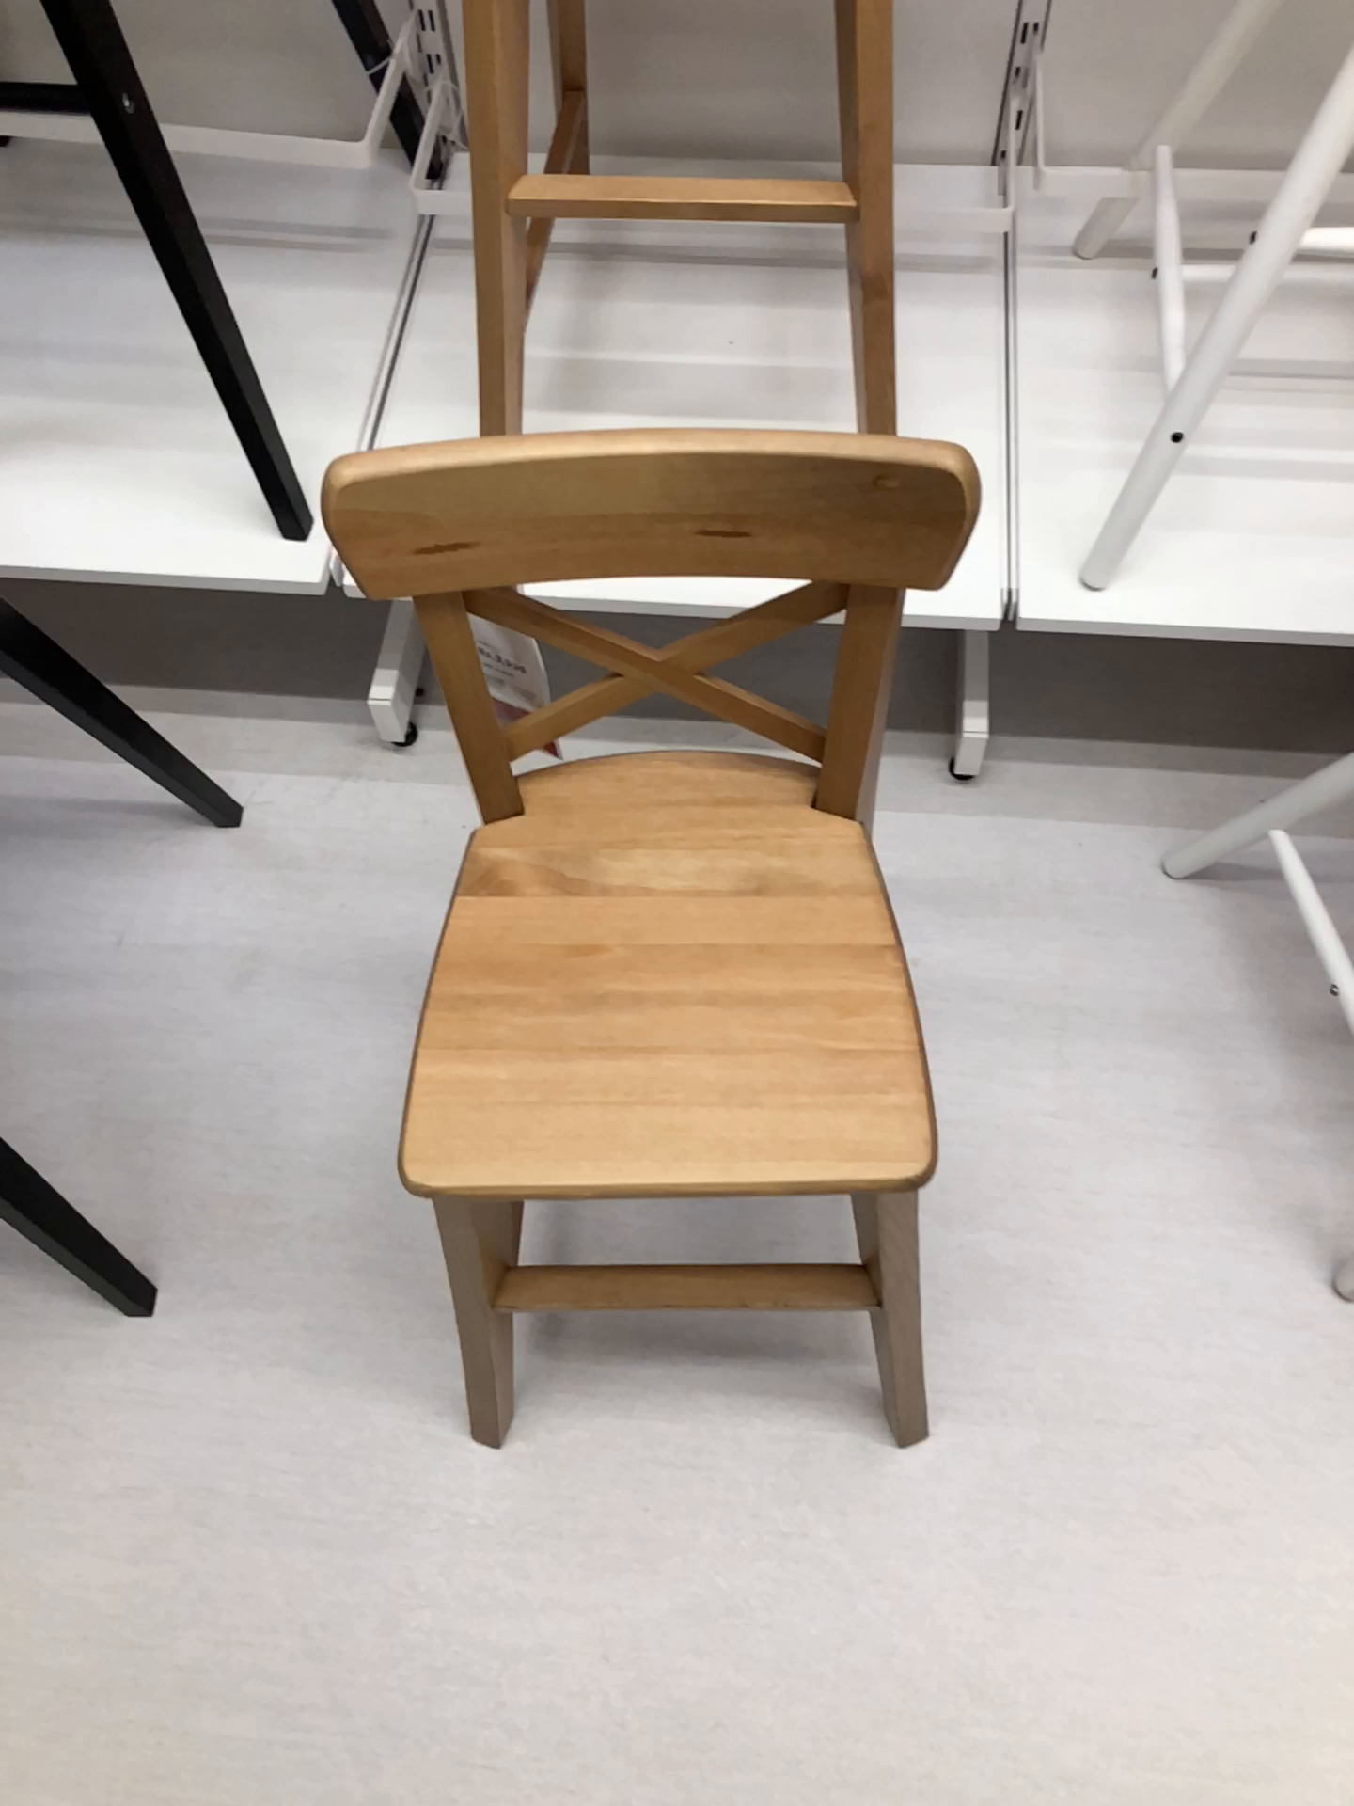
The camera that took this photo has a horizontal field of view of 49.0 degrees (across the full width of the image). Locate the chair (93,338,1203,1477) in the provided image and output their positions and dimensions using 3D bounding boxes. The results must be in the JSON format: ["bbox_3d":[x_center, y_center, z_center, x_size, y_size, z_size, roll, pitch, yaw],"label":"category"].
[{"bbox_3d":[0.006,0.076,0.922,0.390,0.677,0.432,0,62,3],"label":"chair"}]
